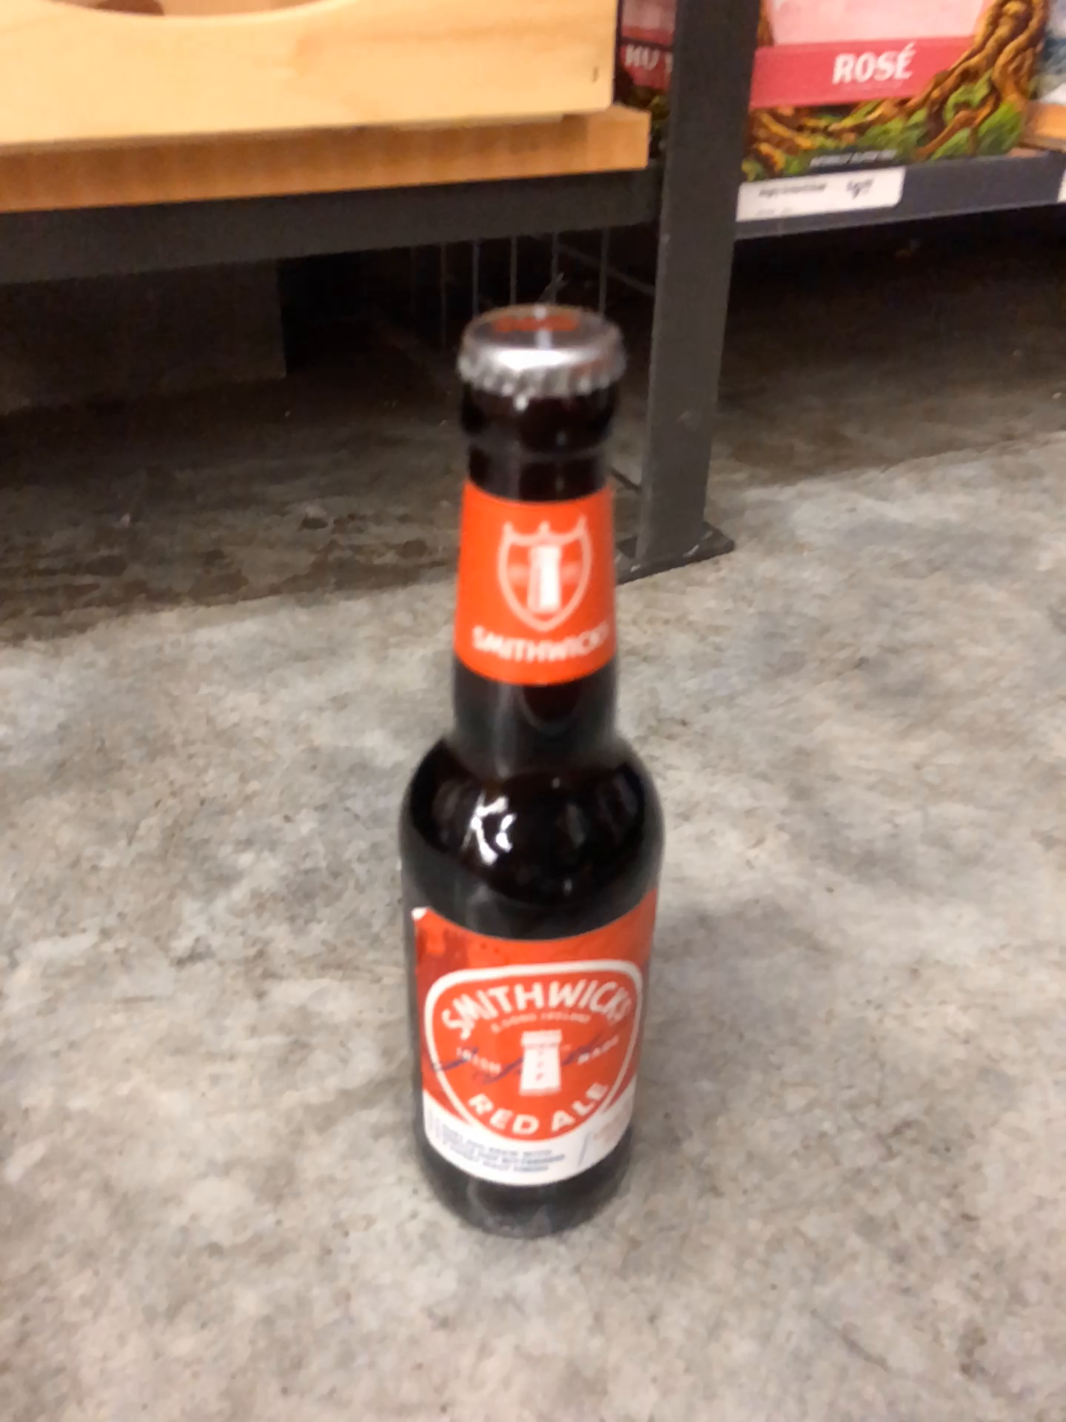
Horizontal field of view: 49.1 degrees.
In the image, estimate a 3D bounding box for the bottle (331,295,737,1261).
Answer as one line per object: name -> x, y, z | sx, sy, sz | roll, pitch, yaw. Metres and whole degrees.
bottle -> -0.003, 0.030, 0.257 | 0.059, 0.220, 0.060 | 1, 34, -1
